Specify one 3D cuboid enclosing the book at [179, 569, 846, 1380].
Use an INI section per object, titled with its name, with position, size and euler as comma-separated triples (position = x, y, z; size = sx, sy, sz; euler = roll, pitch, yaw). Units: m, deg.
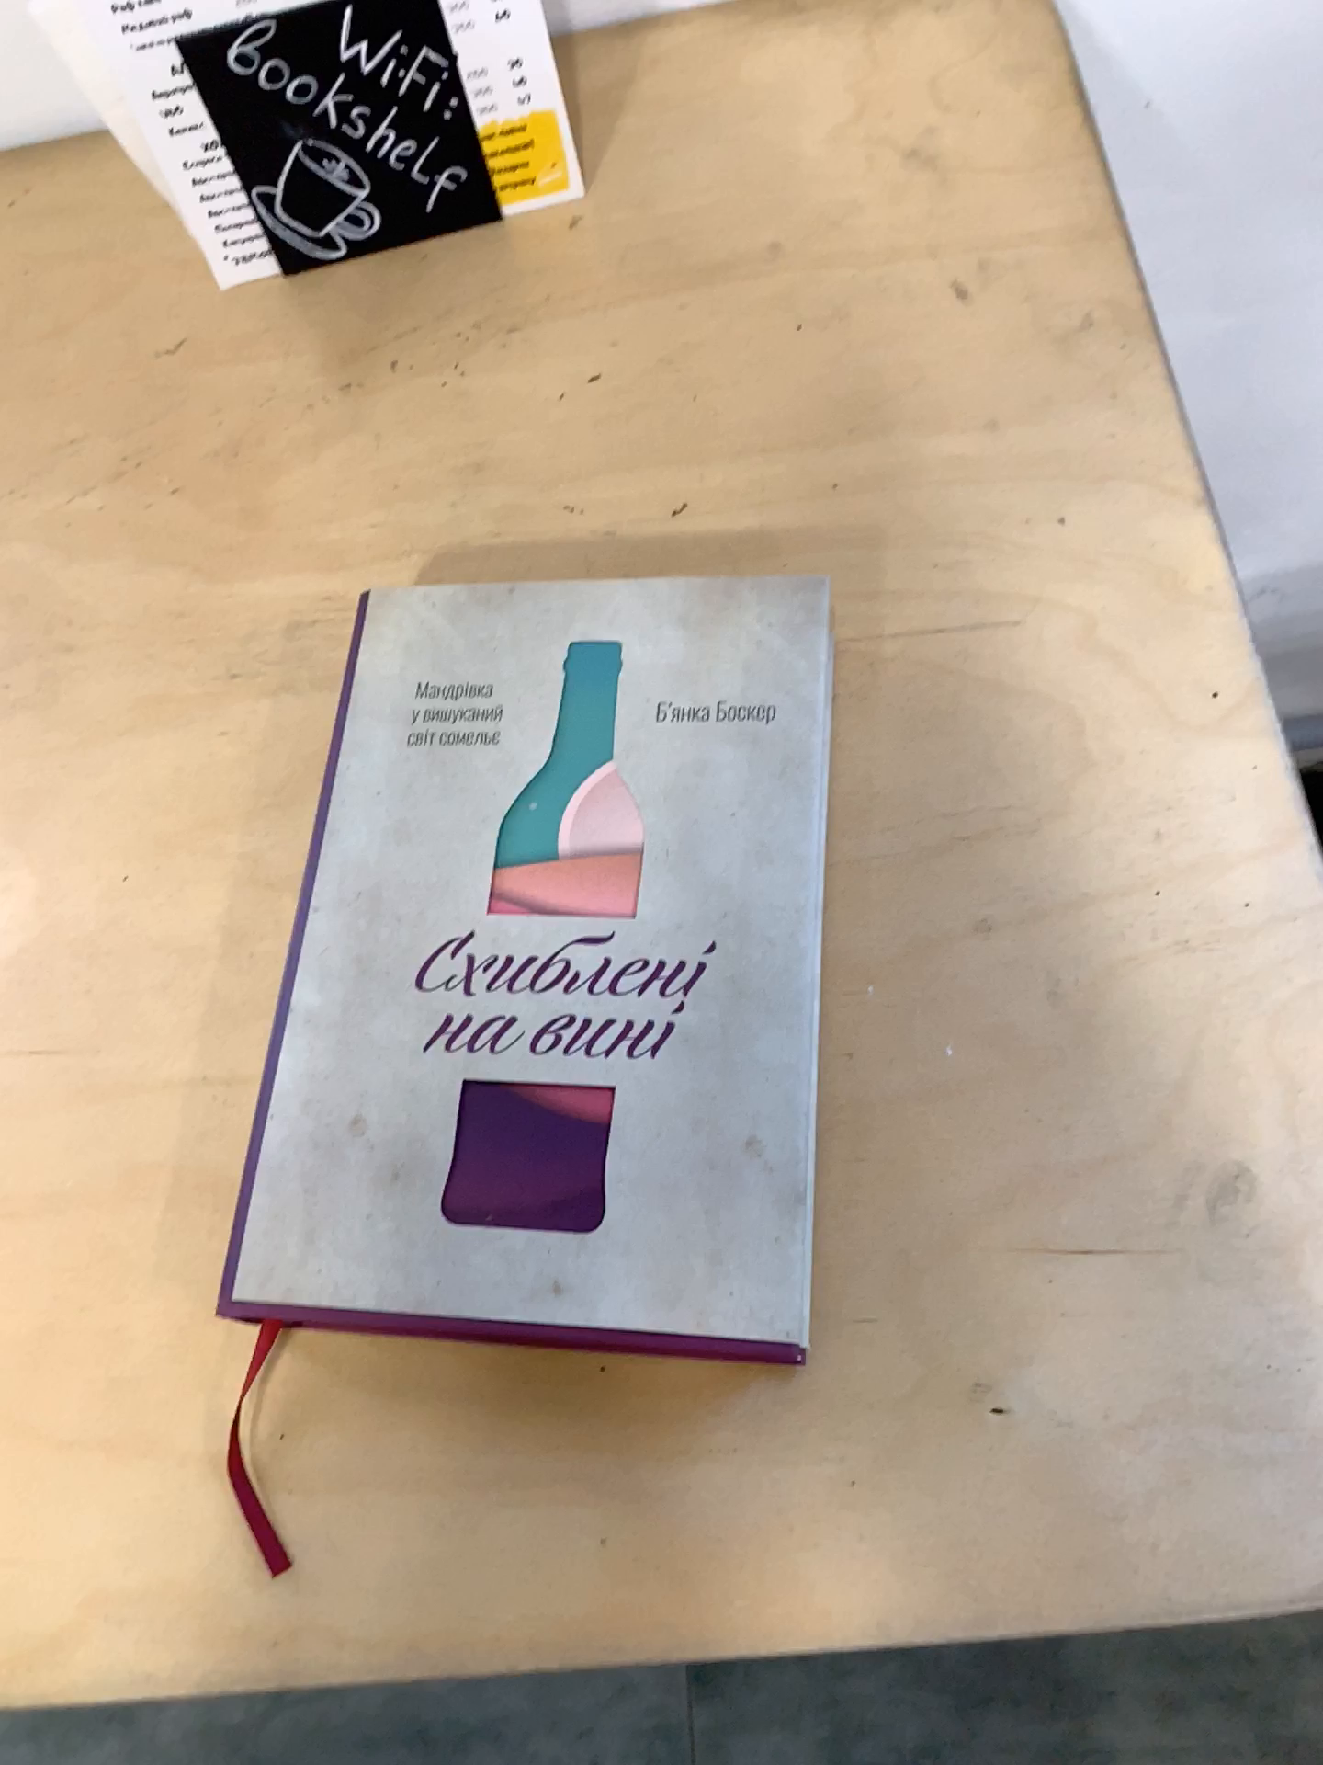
[book]
position = -0.029, 0.017, 0.379
size = 0.150, 0.050, 0.214
euler = 1, 66, 10
